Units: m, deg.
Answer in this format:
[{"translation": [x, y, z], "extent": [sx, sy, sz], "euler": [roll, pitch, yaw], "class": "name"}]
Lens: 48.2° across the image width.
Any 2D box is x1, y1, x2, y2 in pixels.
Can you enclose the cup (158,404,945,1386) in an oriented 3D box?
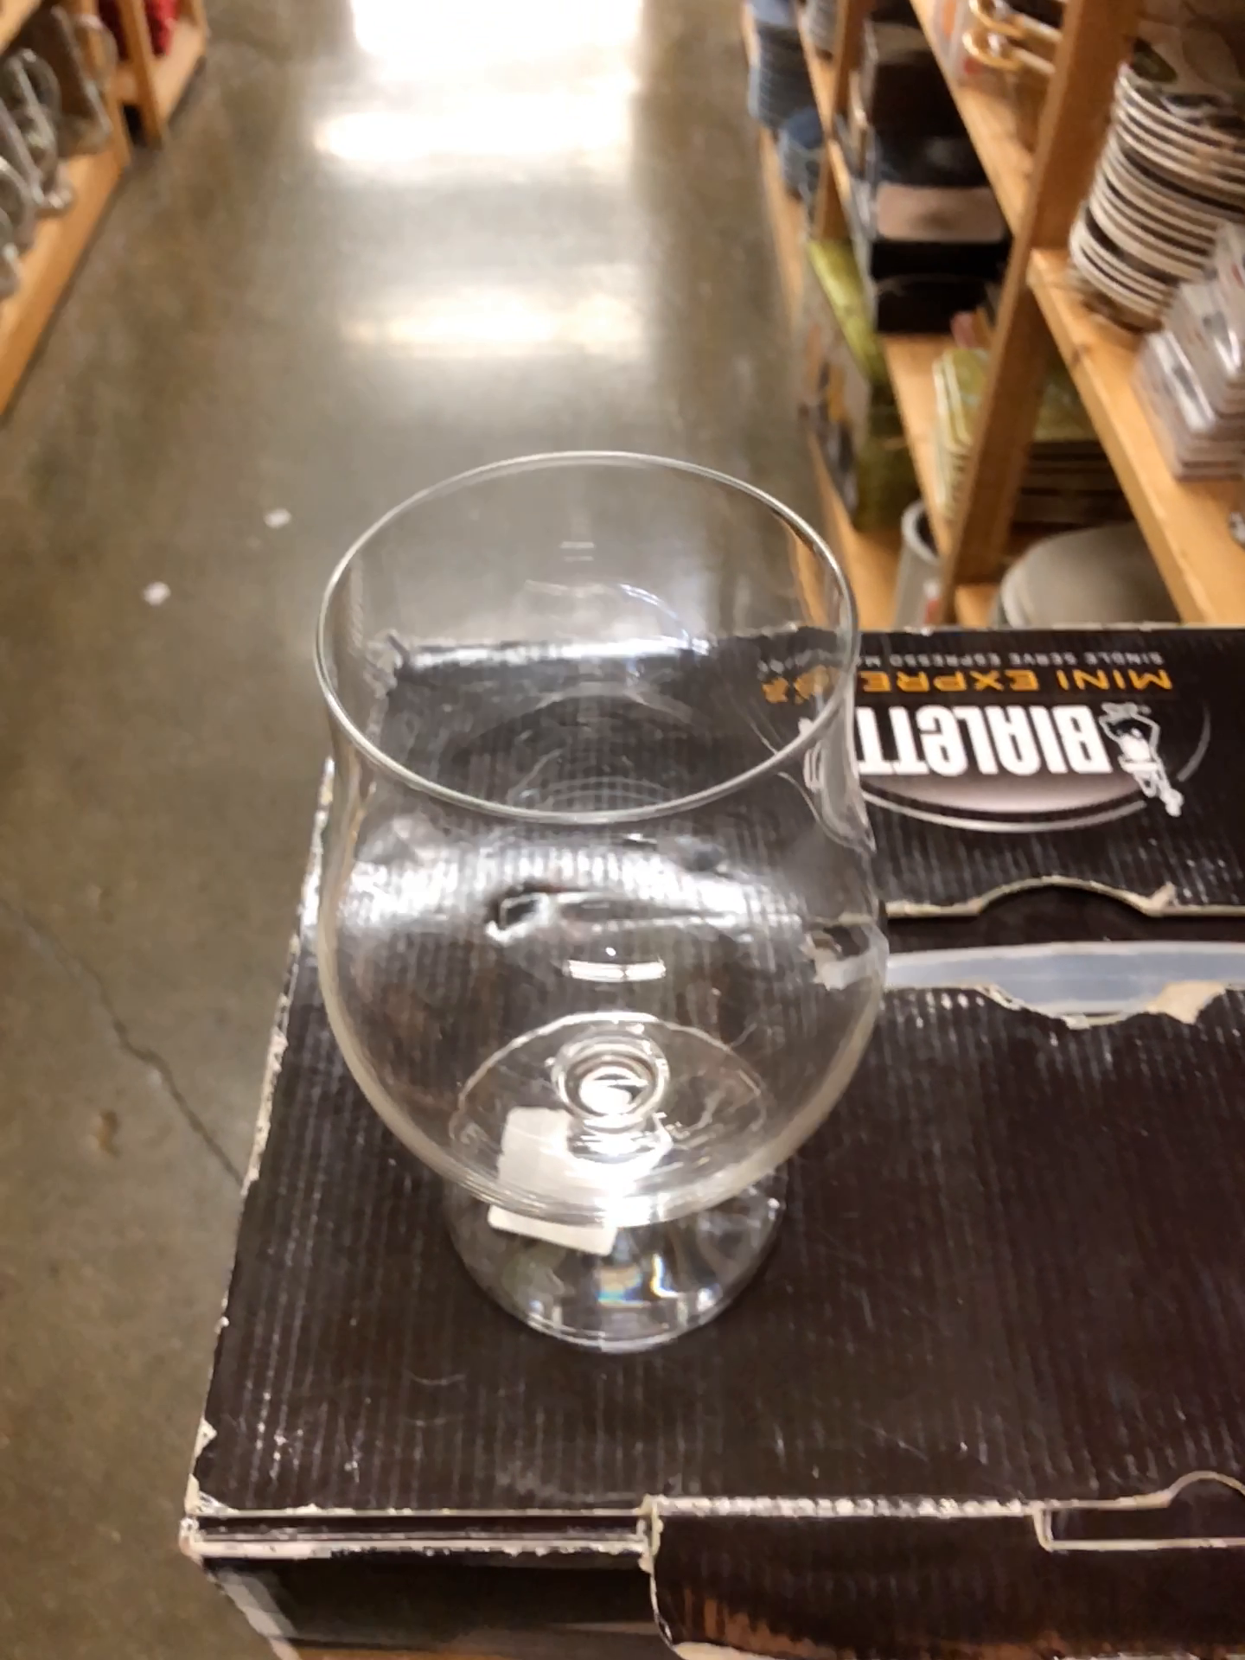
[{"translation": [-0.007, 0.020, 0.222], "extent": [0.079, 0.145, 0.082], "euler": [0, 48, 0], "class": "cup"}]
